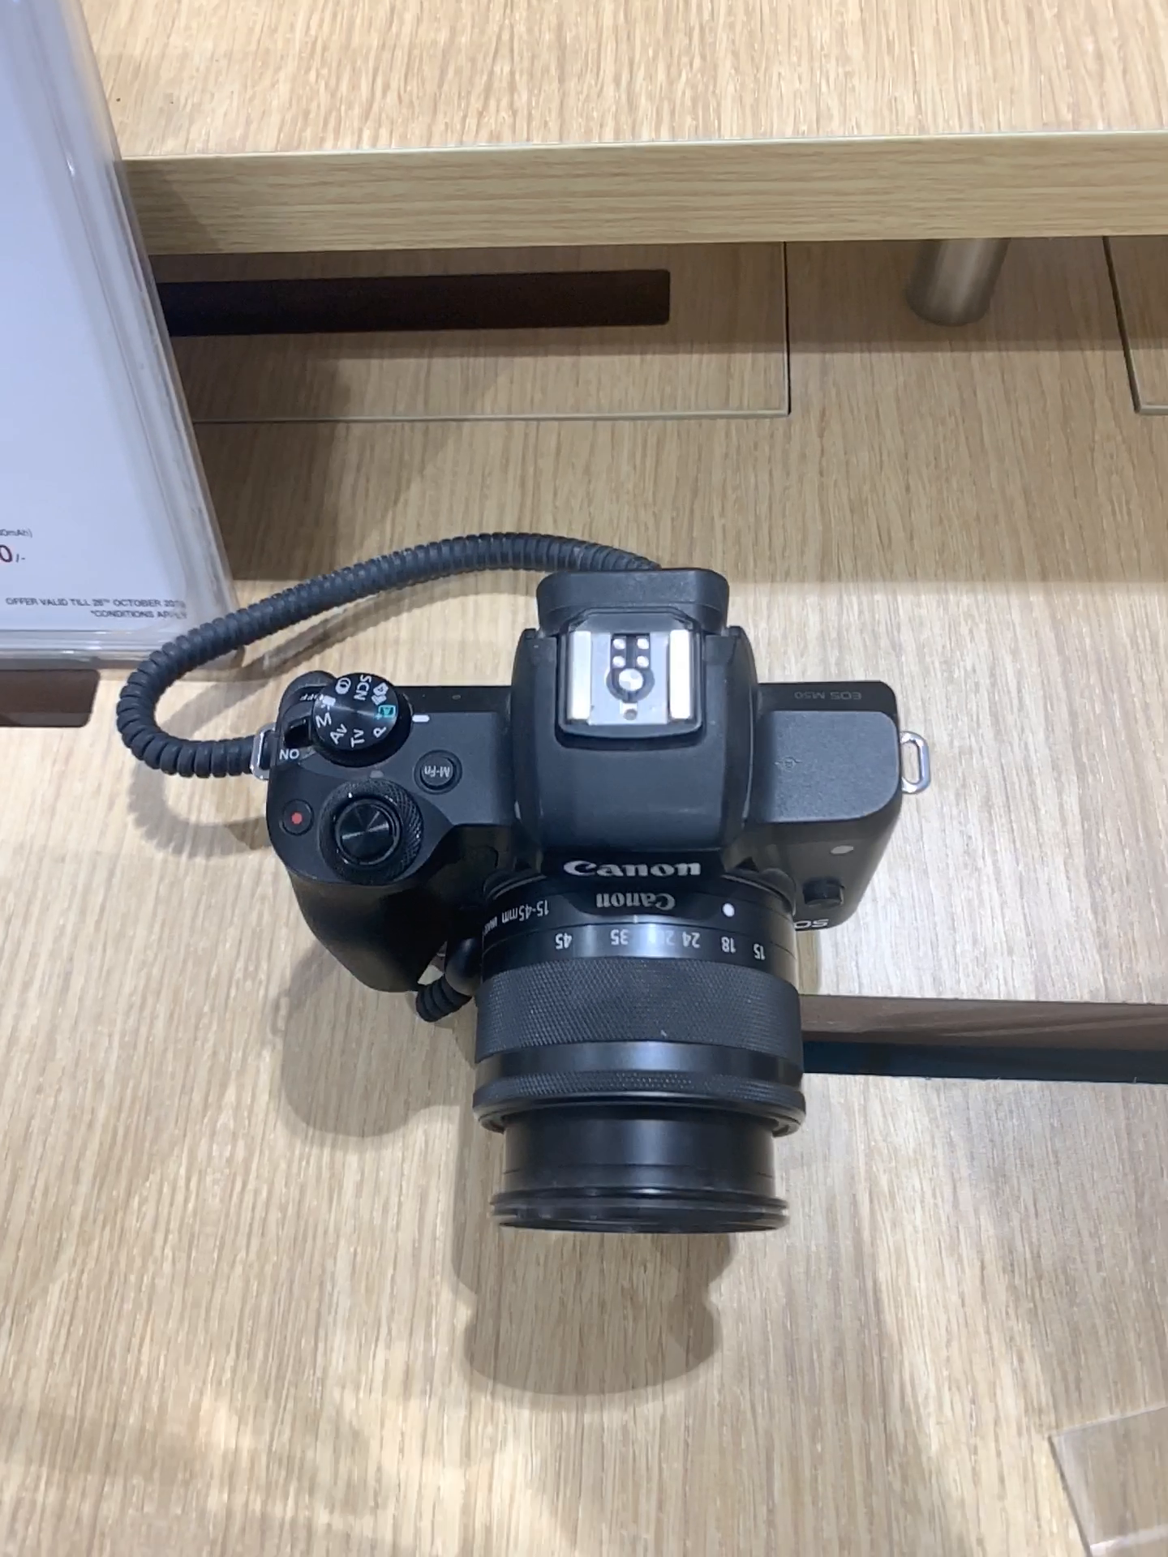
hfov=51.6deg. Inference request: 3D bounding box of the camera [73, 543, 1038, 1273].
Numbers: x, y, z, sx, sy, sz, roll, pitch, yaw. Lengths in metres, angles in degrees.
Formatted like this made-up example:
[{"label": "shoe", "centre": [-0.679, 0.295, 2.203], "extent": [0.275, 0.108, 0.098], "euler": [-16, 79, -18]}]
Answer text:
[{"label": "camera", "centre": [-0.002, 0.032, 0.216], "extent": [0.120, 0.100, 0.100], "euler": [-2, 65, 3]}]
